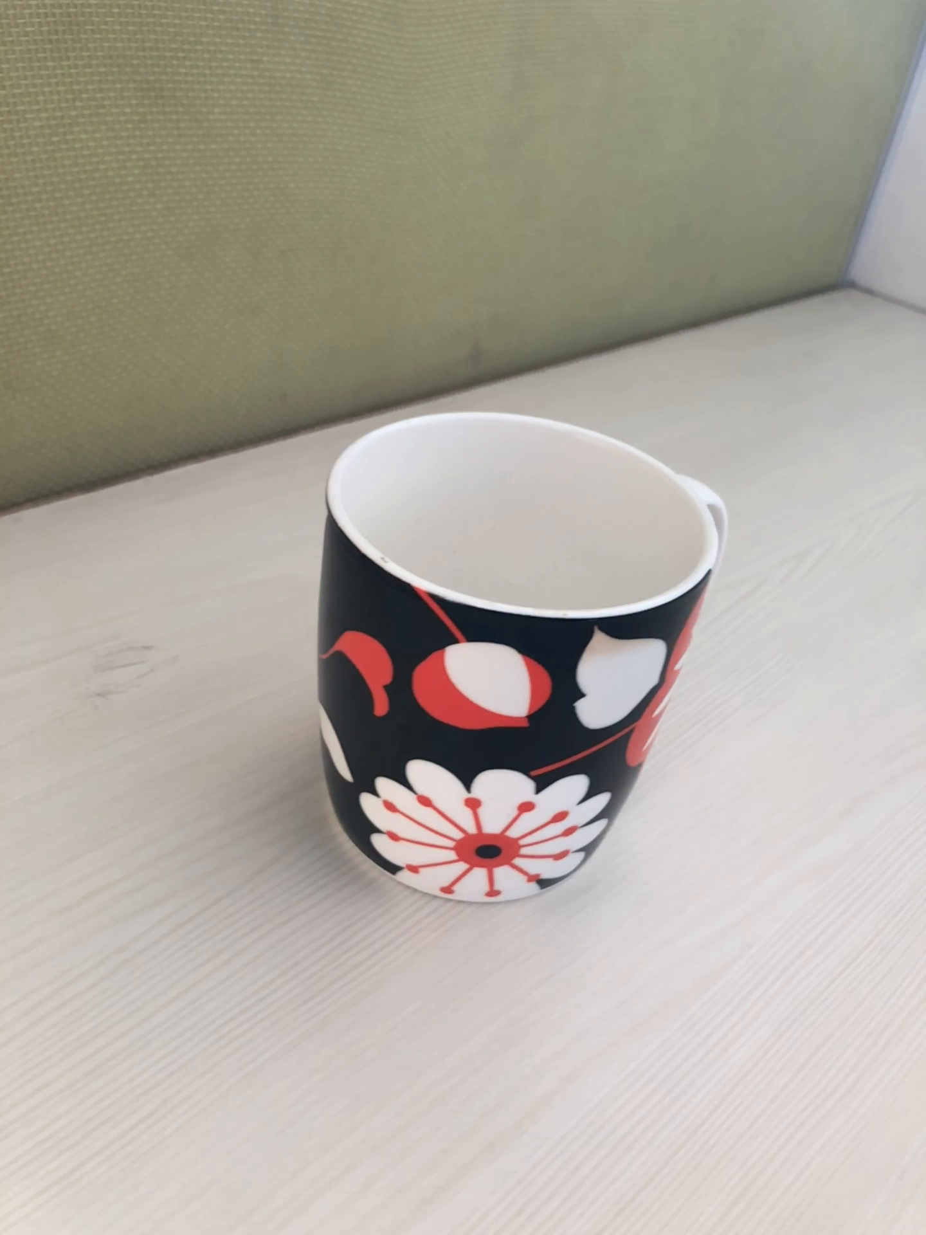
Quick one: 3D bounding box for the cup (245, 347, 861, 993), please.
[{"bbox_3d":[0.022,0.002,0.261,0.090,0.089,0.121,28,39,26],"label":"cup"}]
